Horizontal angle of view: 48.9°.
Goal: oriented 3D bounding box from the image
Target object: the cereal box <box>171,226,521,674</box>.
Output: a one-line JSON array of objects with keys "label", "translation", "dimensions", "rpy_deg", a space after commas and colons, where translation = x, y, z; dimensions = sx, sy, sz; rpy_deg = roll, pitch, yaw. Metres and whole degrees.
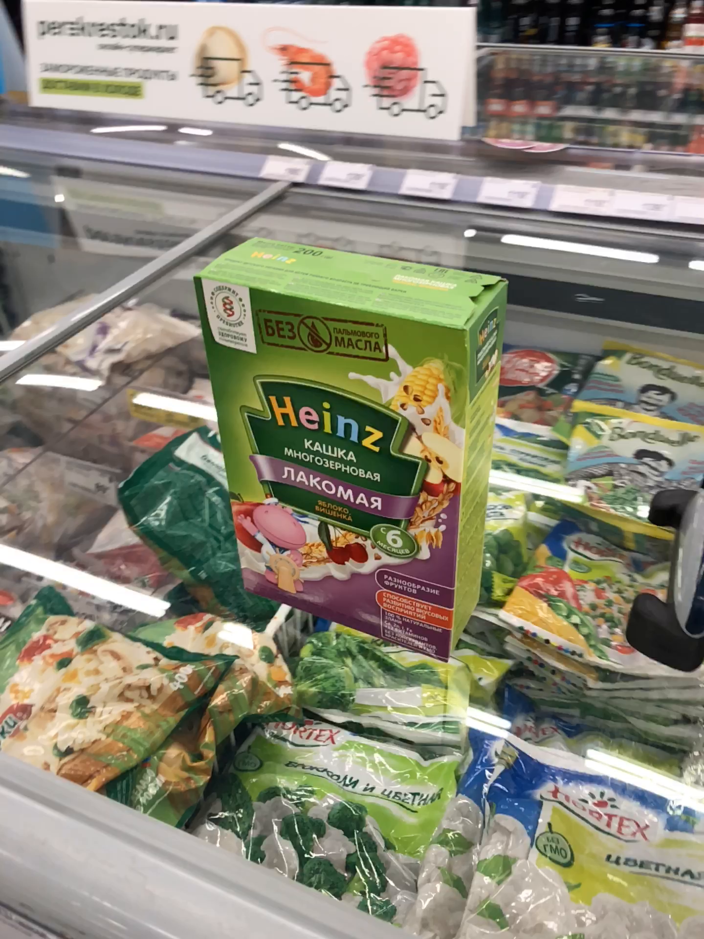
[{"label": "cereal box", "translation": [-0.001, -0.006, 0.385], "dimensions": [0.140, 0.199, 0.050], "rpy_deg": [16, 40, 22]}]
